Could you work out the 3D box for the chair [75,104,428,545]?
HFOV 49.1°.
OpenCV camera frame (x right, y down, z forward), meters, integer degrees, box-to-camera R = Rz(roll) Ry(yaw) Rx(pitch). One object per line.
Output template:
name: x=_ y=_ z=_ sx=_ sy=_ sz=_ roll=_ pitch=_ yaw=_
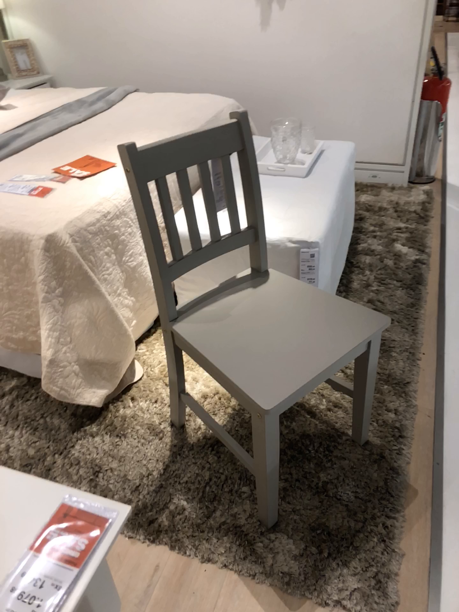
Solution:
chair: x=0.052 y=0.017 z=1.249 sx=0.482 sy=0.824 sz=0.532 roll=-30 pitch=42 yaw=-33
